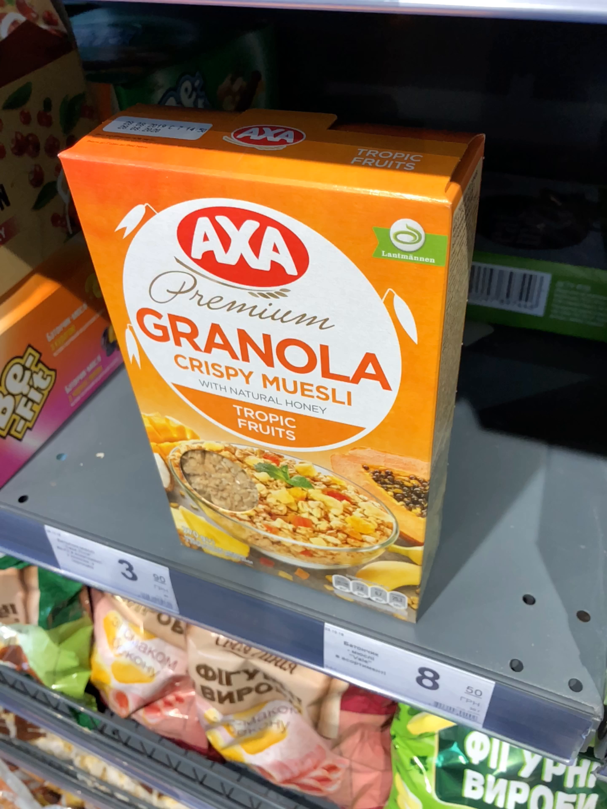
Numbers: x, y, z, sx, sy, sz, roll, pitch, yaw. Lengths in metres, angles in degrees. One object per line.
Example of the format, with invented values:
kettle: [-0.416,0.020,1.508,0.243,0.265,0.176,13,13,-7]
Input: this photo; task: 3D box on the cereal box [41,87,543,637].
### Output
cereal box: [0.001,-0.004,0.271,0.140,0.208,0.050,13,46,18]
